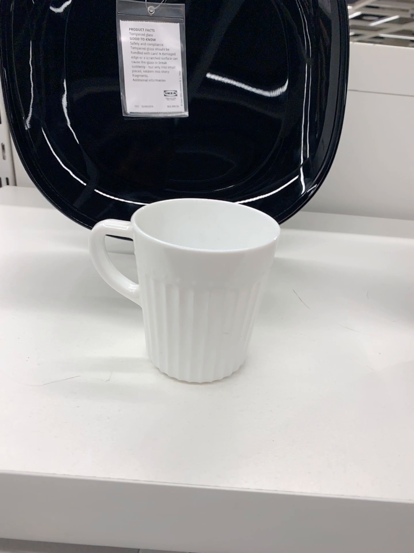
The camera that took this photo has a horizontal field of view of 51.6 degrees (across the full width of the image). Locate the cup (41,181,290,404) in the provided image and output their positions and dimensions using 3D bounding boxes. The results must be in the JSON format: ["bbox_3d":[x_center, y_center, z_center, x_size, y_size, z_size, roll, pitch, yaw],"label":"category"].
[{"bbox_3d":[-0.017,0.002,0.243,0.110,0.080,0.090,7,26,5],"label":"cup"}]
